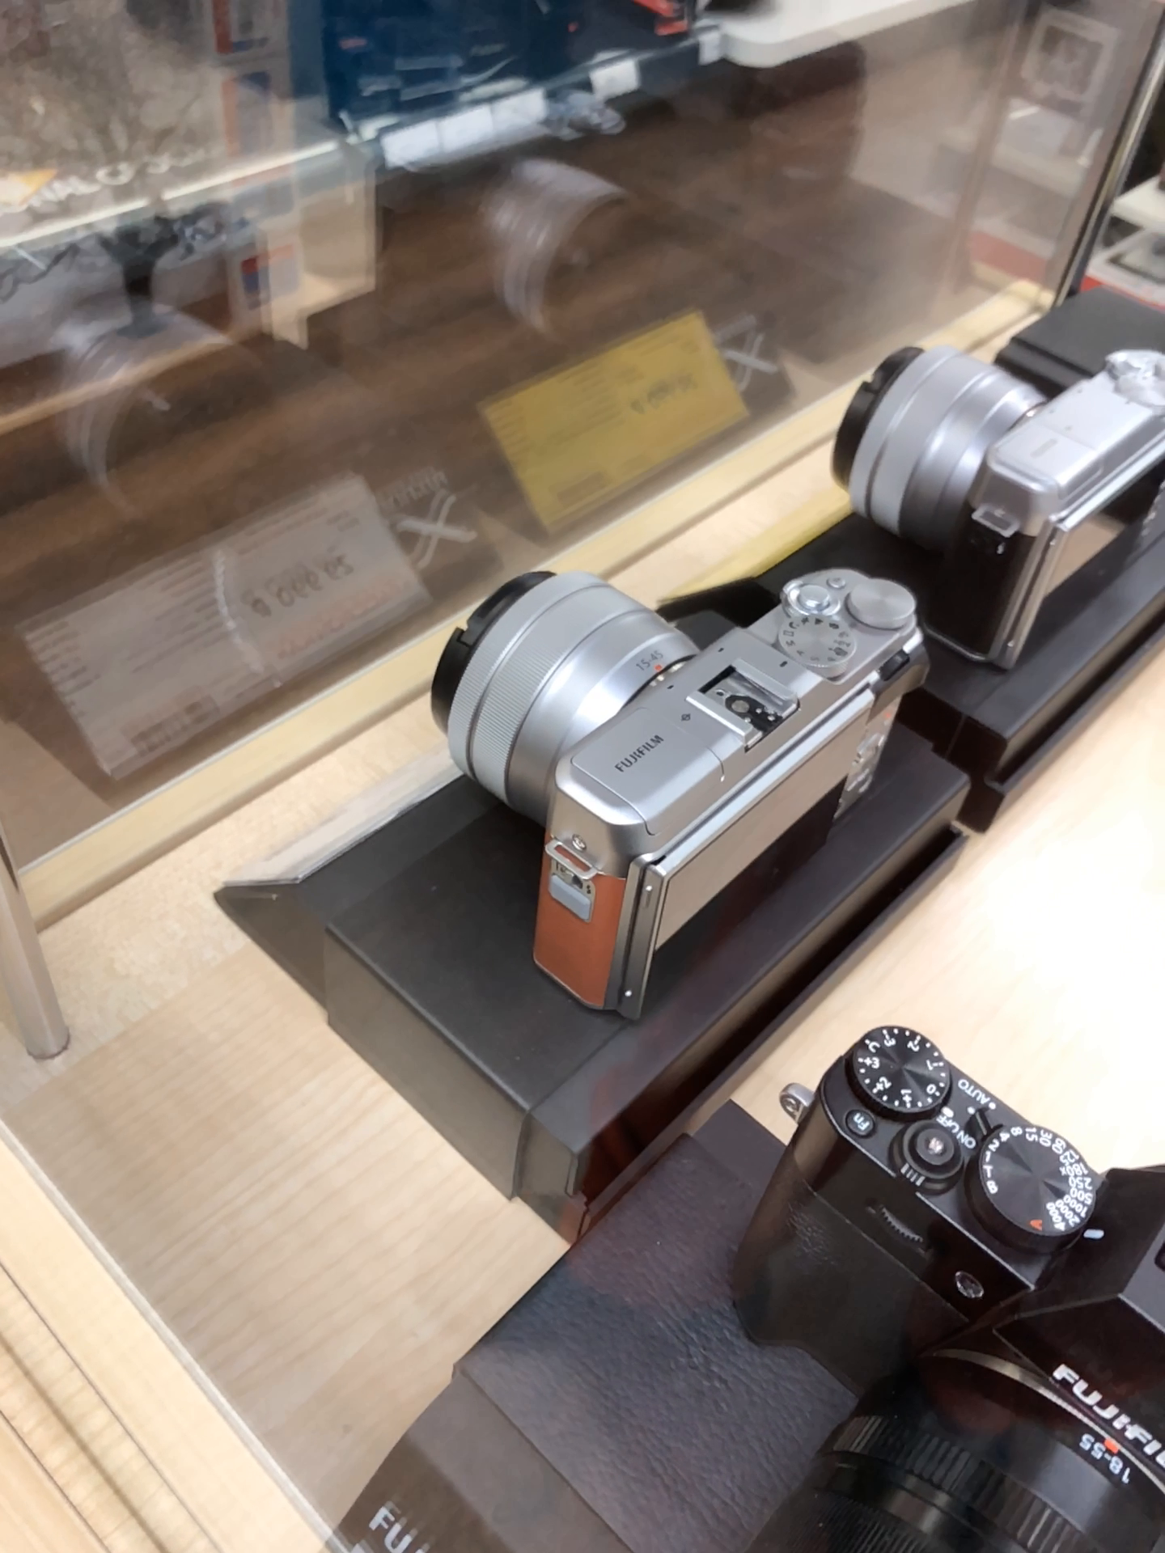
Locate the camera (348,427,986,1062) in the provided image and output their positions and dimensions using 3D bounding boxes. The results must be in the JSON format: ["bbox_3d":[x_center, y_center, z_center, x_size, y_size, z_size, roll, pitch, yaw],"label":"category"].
[{"bbox_3d":[0.019,-0.014,0.325,0.093,0.075,0.121,36,52,24],"label":"camera"}]

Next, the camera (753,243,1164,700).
[{"bbox_3d":[0.135,-0.104,0.421,0.093,0.075,0.121,36,52,24],"label":"camera"}]

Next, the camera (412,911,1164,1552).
[{"bbox_3d":[0.061,0.117,0.198,0.131,0.090,0.113,37,52,24],"label":"camera"}]
